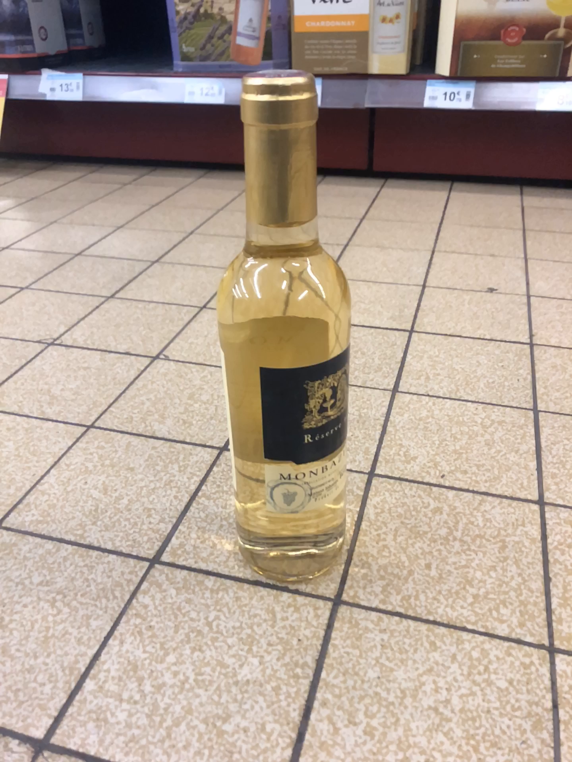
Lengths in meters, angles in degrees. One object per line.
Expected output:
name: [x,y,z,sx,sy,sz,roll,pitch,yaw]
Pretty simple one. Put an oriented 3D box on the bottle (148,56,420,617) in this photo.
bottle: [0.002,-0.012,0.290,0.070,0.239,0.070,-1,31,1]
